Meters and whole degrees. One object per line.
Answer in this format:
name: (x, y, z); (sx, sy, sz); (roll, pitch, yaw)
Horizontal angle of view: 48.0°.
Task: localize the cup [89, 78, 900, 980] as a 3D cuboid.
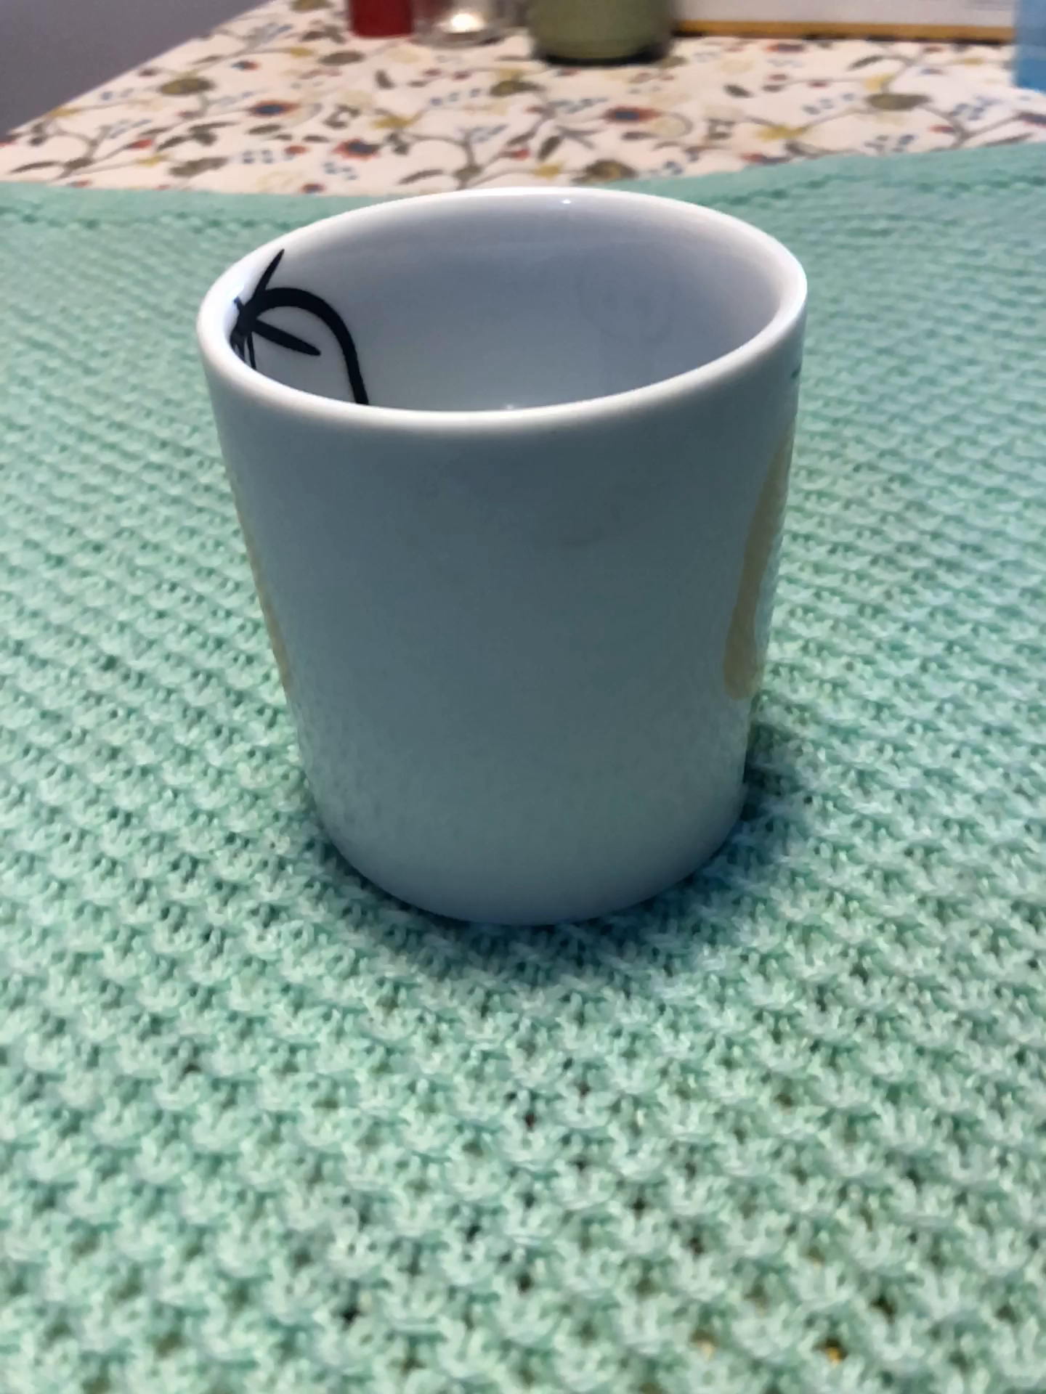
cup: (0.007, -0.038, 0.209); (0.090, 0.099, 0.131); (4, 41, 8)
